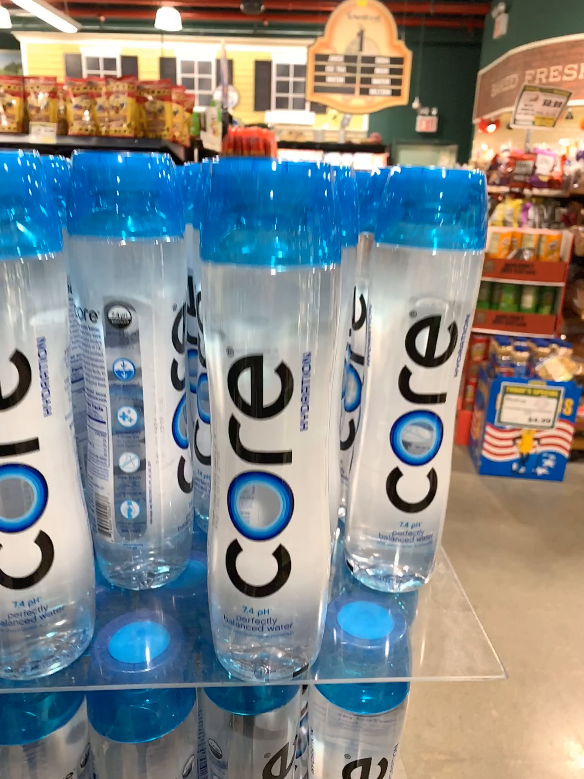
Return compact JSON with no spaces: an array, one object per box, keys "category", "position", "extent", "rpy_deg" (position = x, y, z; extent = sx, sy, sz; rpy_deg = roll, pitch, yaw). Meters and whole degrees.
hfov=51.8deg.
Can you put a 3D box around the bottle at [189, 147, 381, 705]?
[{"category":"bottle","position":[-0.005,0.023,0.337],"extent":[0.080,0.289,0.090],"rpy_deg":[3,18,4]}]
